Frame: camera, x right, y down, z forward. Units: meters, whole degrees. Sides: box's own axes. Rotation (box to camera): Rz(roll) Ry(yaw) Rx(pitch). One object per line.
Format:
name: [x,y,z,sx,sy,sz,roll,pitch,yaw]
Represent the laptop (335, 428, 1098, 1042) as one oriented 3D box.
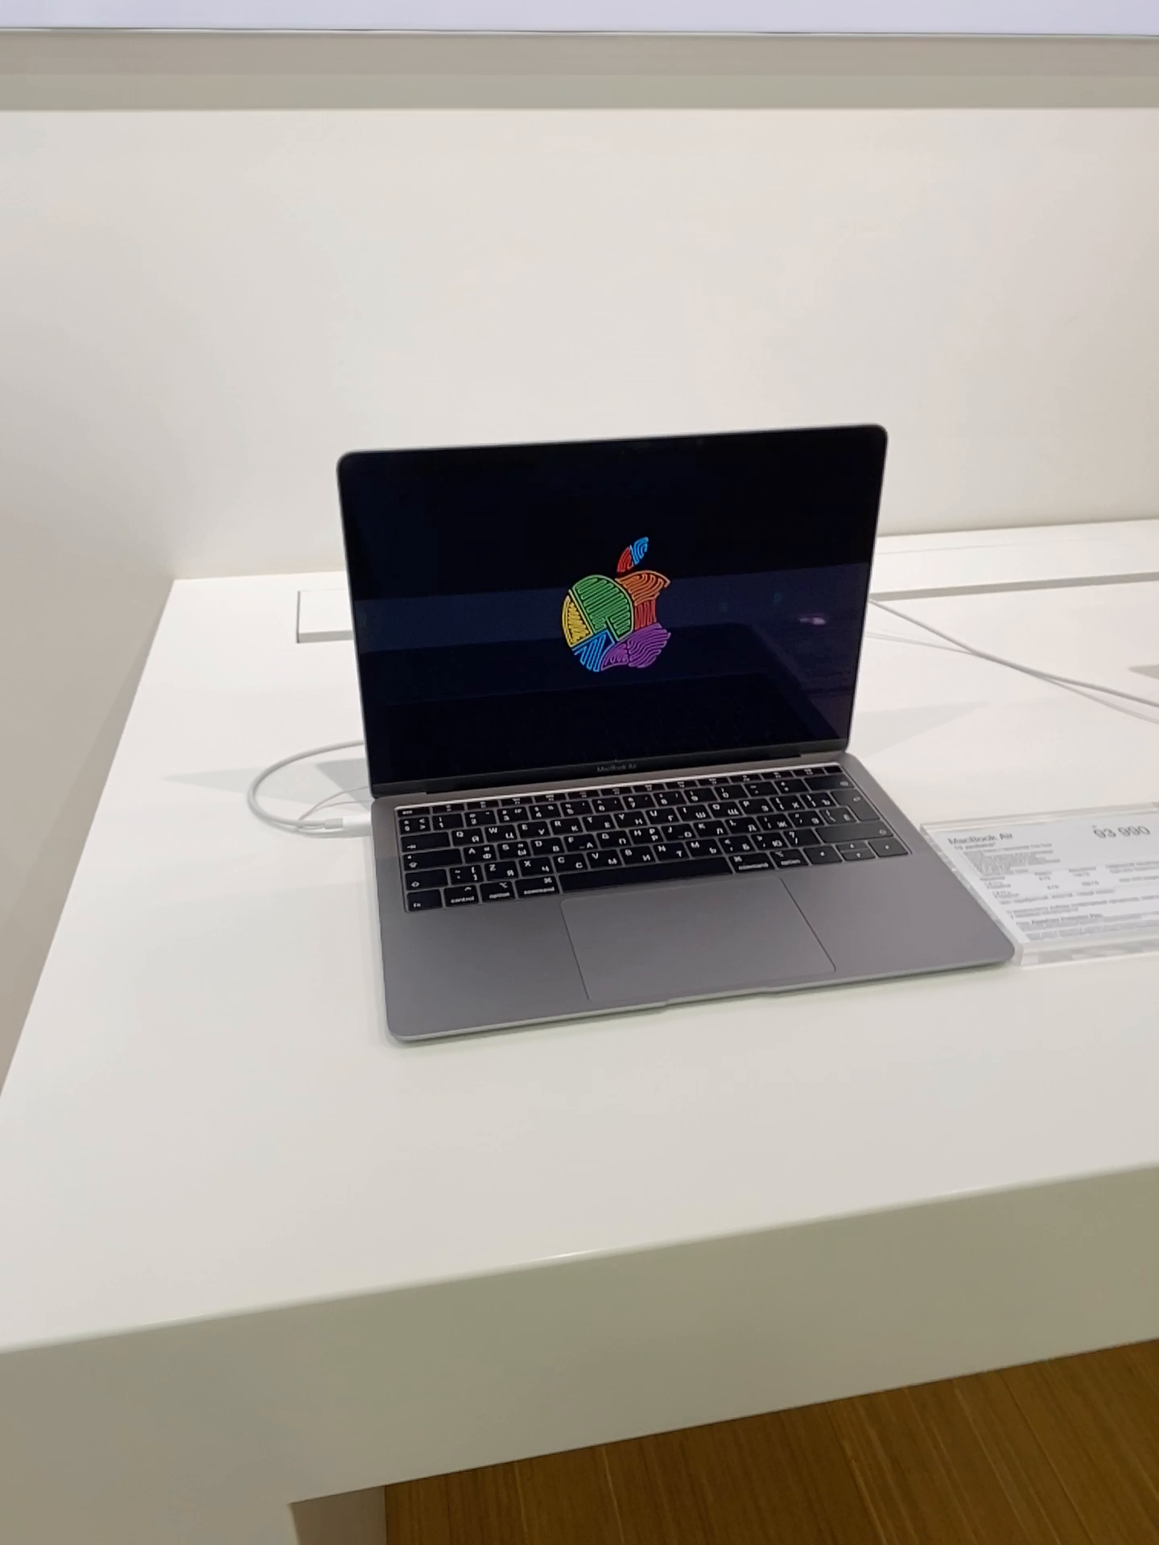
laptop: [0.040,-0.039,0.599,0.301,0.211,0.226,-5,27,-9]
